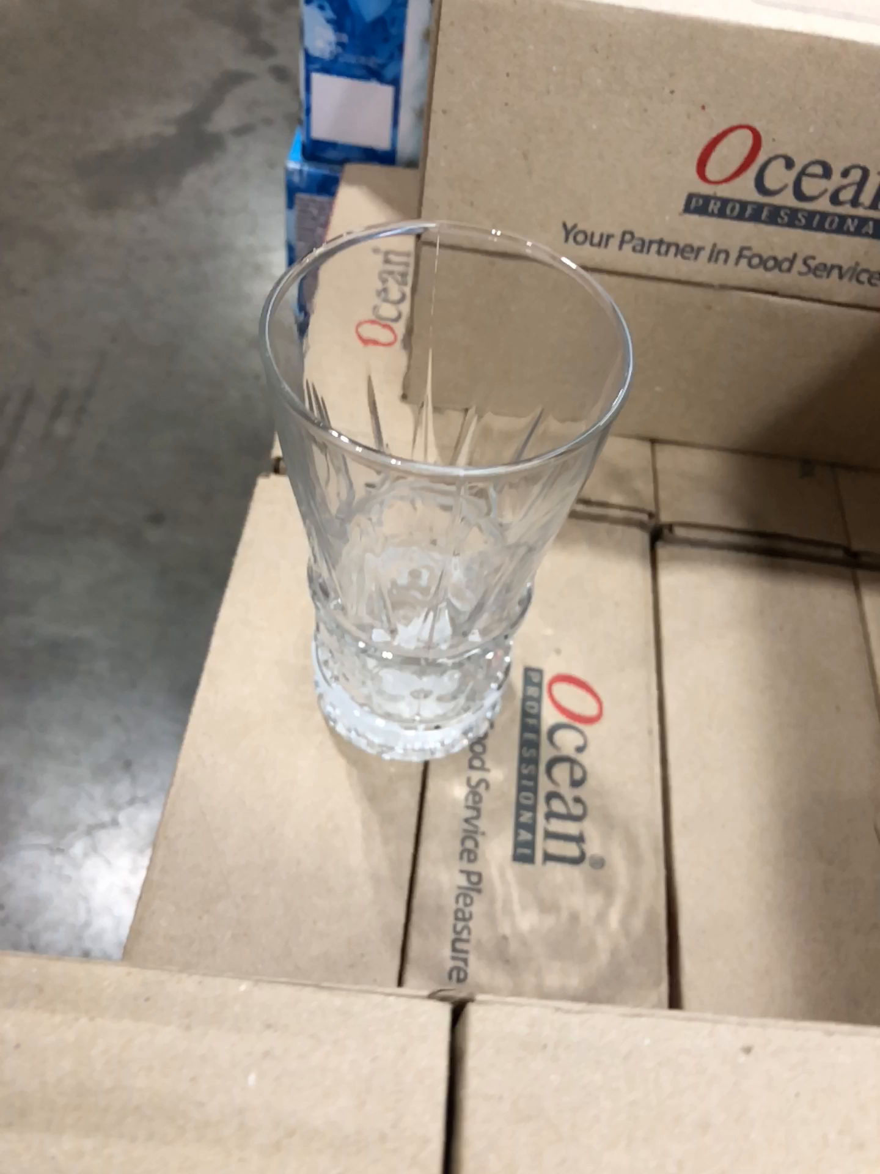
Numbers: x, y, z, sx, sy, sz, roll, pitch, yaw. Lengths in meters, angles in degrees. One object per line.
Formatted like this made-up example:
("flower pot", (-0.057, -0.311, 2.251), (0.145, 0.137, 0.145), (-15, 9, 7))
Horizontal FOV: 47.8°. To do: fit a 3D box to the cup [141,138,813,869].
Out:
("cup", (-0.001, -0.018, 0.253), (0.100, 0.130, 0.100), (4, 53, -5))
